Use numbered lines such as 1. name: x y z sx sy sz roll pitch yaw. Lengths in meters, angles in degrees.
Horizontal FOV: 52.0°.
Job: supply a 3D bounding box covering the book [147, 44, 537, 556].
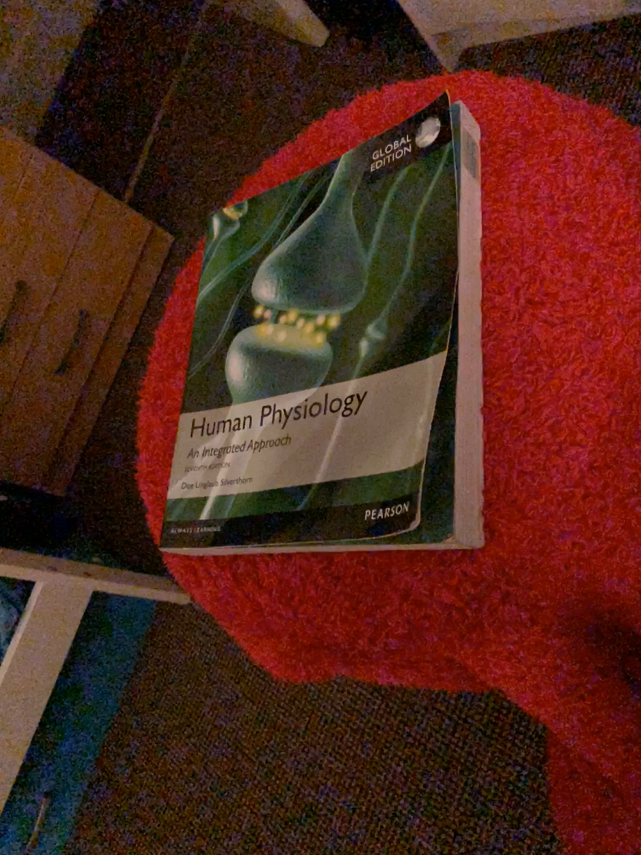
1. book: 0.012 -0.069 0.459 0.251 0.069 0.301 -10 65 38
